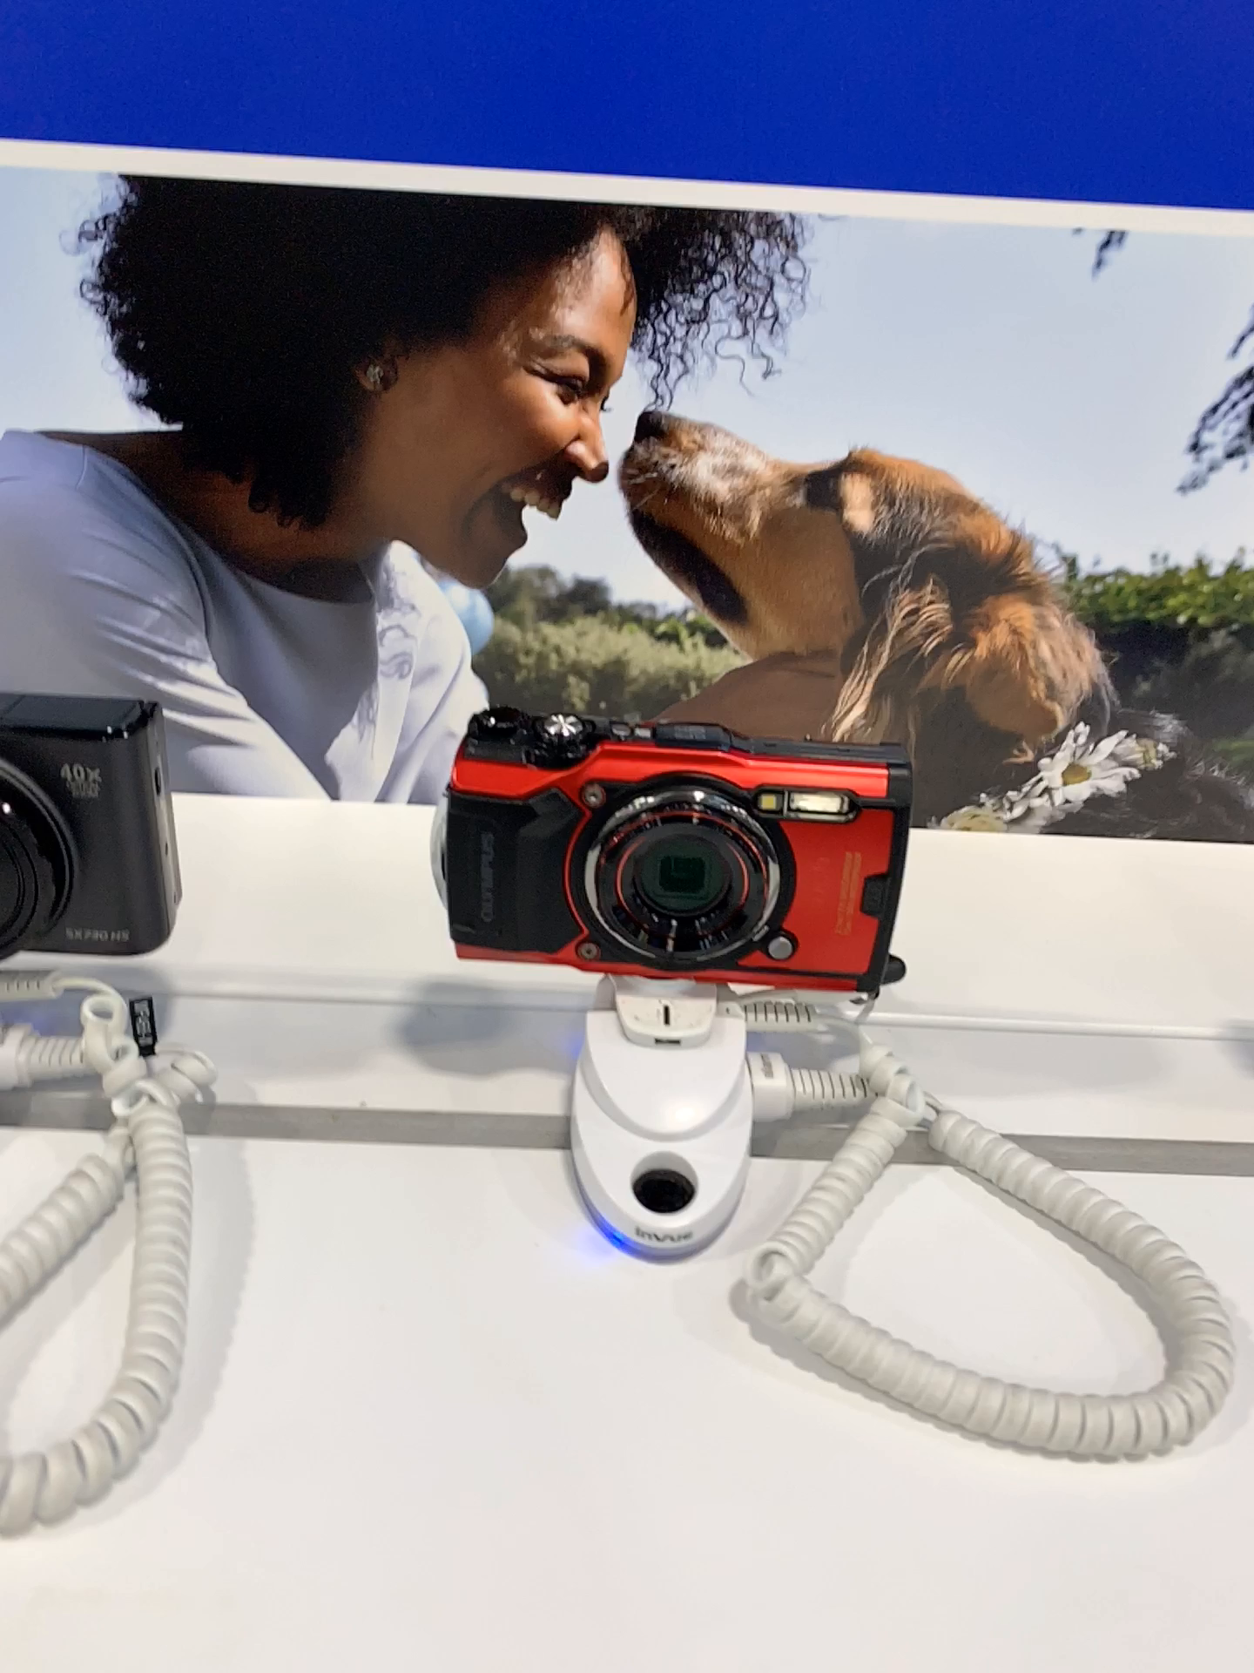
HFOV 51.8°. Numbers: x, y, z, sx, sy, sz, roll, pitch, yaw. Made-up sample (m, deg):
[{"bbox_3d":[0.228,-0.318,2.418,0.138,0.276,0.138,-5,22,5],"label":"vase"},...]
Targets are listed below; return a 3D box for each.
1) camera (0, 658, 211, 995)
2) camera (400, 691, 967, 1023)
[{"bbox_3d":[-0.174,-0.003,0.322,0.120,0.060,0.050,4,29,-1],"label":"camera"},{"bbox_3d":[0.012,0.004,0.331,0.130,0.060,0.050,4,29,-1],"label":"camera"}]
